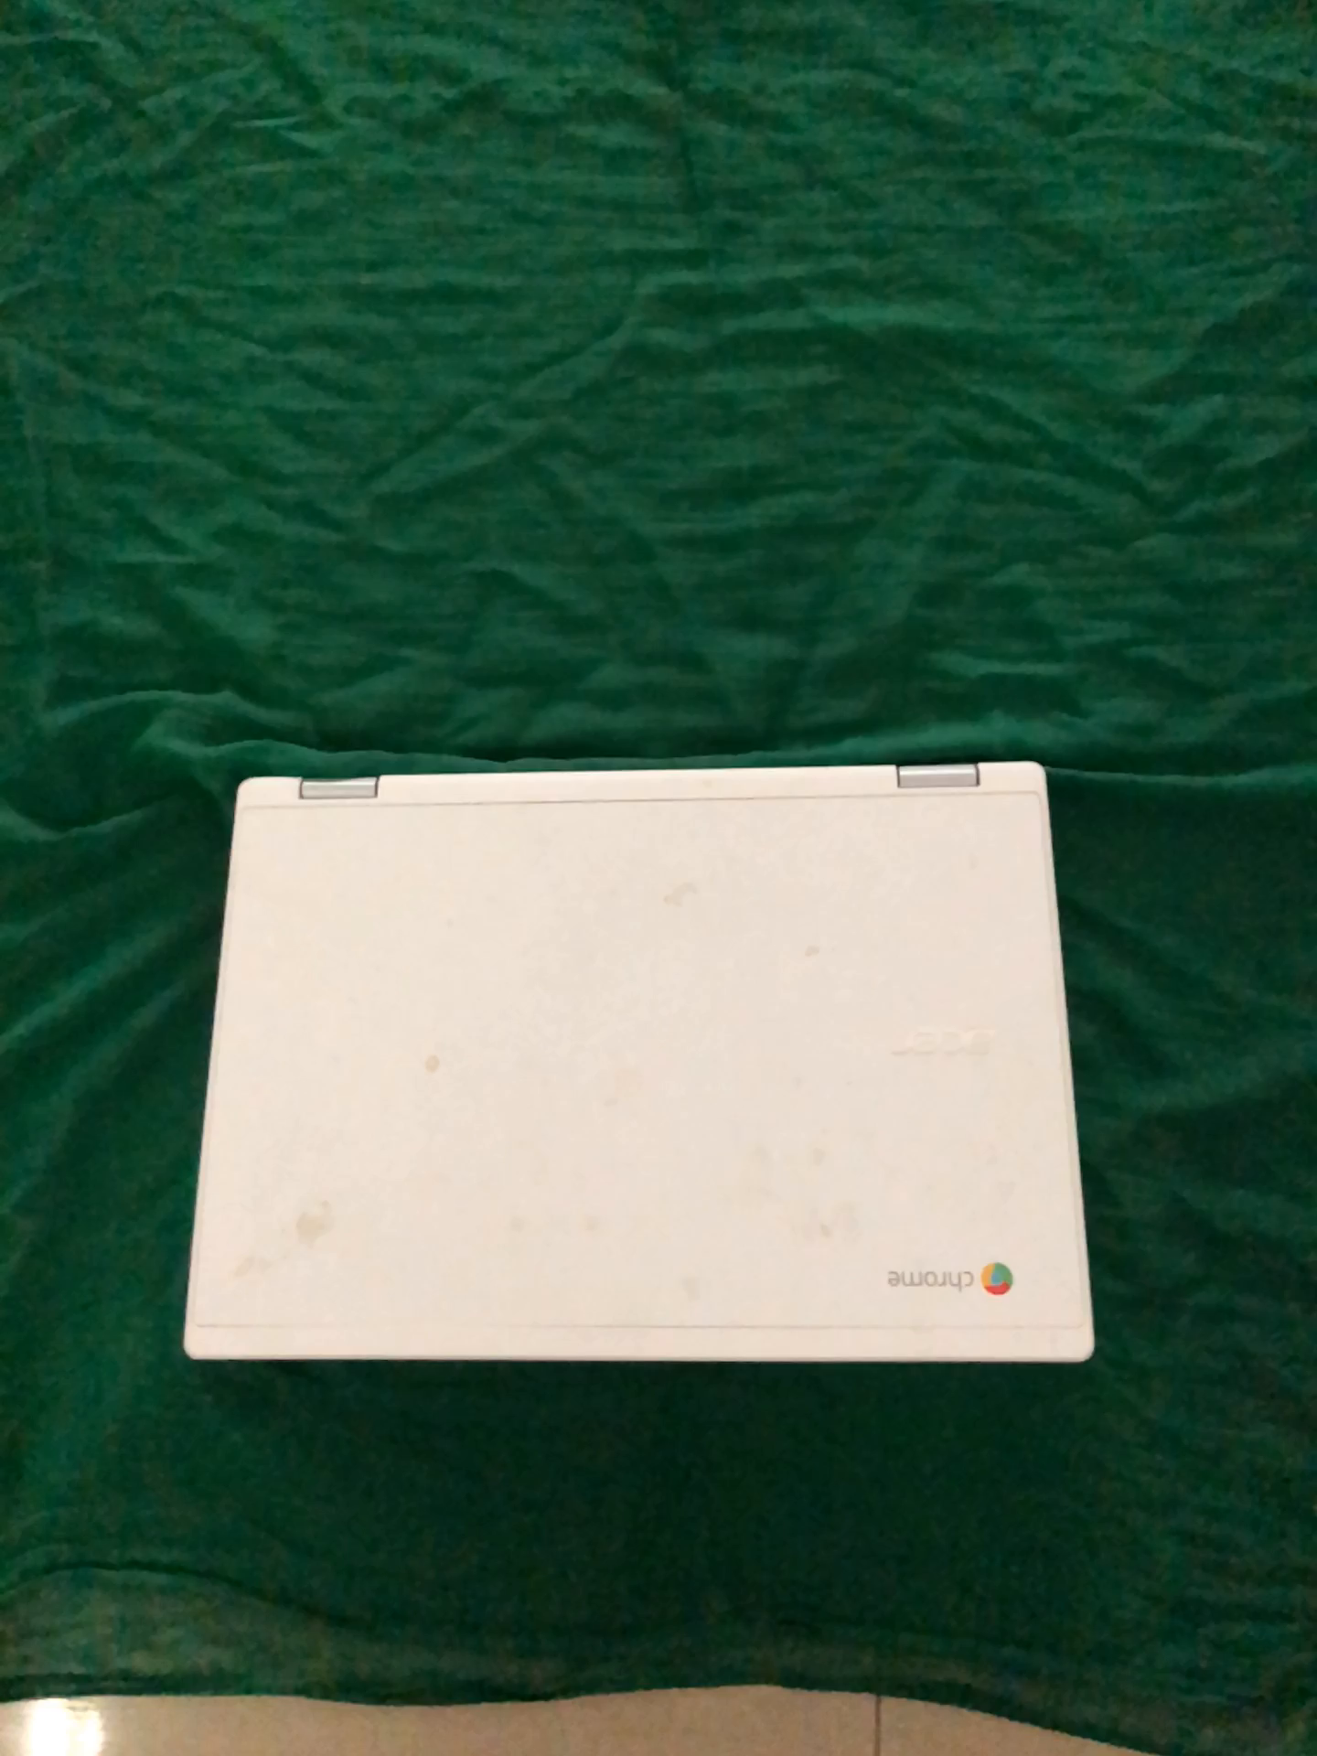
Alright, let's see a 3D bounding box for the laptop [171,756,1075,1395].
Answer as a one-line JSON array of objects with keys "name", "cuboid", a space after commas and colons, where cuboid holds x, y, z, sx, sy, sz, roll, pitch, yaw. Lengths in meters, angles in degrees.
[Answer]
[{"name": "laptop", "cuboid": [-0.012, 0.063, 0.484, 0.281, 0.065, 0.193, -1, 88, 5]}]
